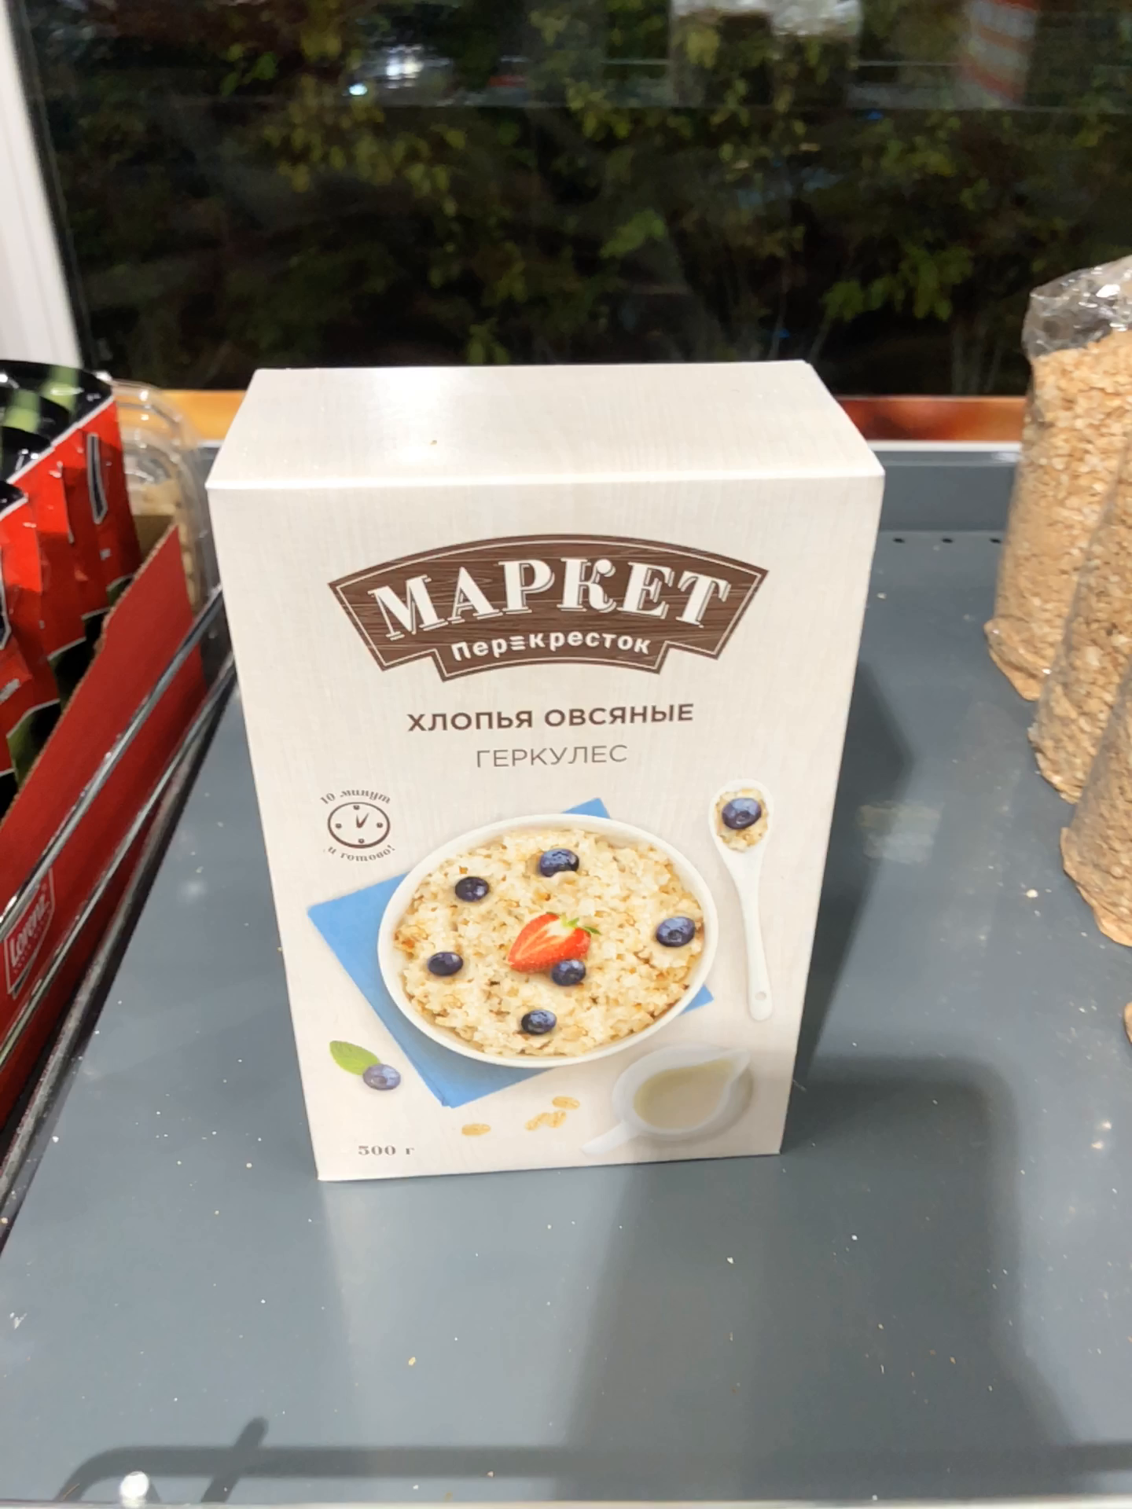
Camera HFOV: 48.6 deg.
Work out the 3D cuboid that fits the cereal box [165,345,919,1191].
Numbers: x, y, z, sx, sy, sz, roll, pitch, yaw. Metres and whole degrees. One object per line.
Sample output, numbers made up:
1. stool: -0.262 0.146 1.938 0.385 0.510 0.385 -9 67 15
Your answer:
1. cereal box: -0.006 0.010 0.298 0.130 0.189 0.070 -2 34 -4
